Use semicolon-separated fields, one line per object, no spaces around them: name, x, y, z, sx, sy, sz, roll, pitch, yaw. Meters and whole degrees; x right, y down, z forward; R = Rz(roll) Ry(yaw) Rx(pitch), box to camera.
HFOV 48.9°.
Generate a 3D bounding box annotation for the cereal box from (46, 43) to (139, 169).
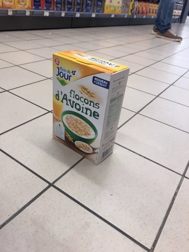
cereal box;-0.019;-0.045;0.439;0.160;0.209;0.070;29;35;29
